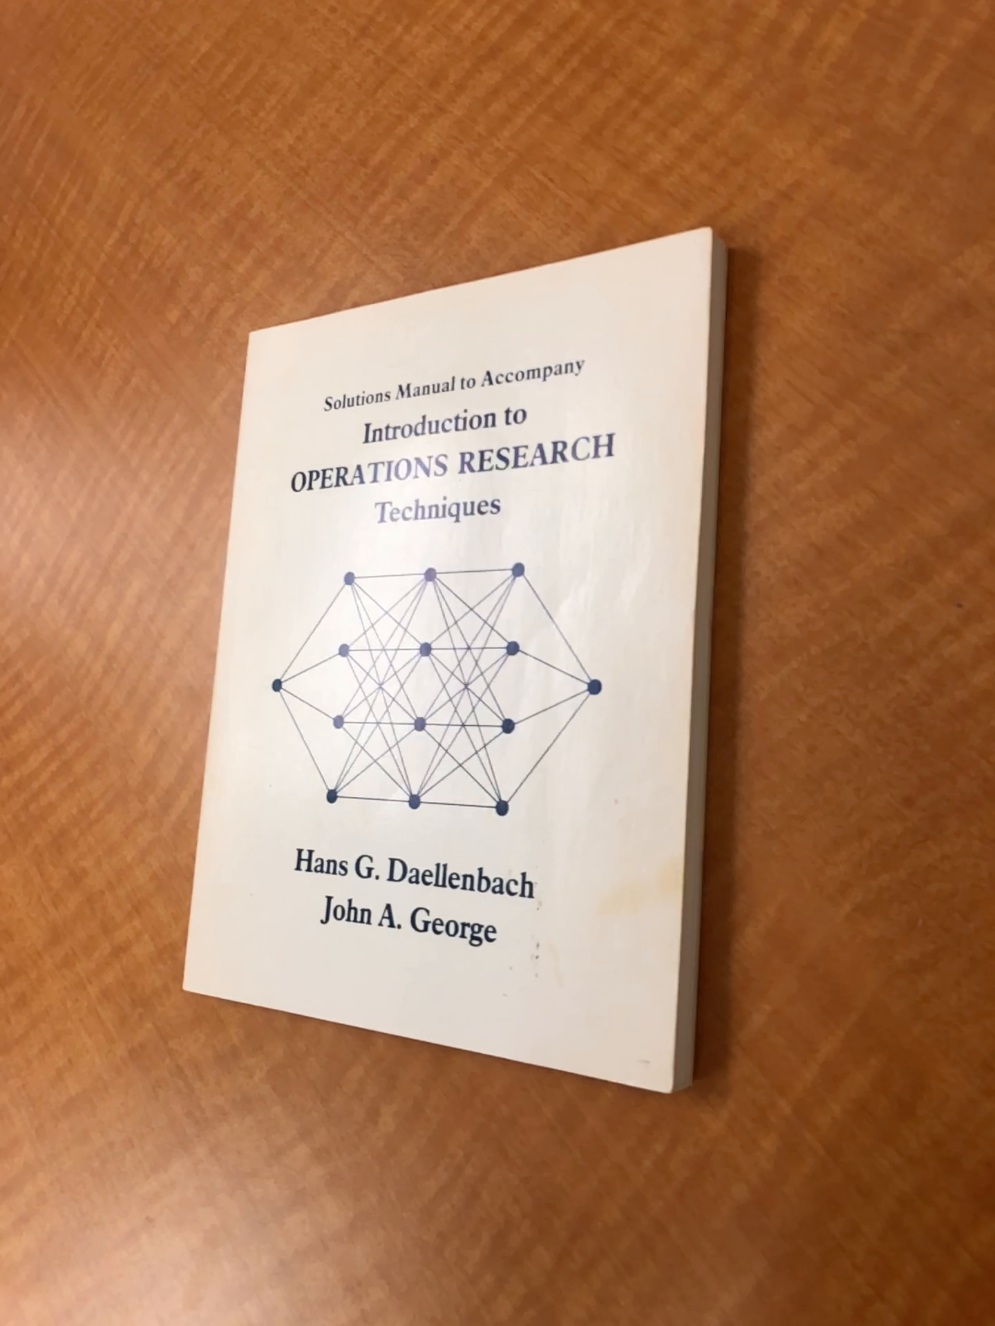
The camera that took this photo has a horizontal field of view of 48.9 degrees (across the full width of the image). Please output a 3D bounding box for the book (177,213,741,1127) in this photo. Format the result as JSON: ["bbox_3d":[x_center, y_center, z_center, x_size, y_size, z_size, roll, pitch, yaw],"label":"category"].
[{"bbox_3d":[-0.017,-0.003,0.350,0.181,0.020,0.250,-1,81,30],"label":"book"}]
